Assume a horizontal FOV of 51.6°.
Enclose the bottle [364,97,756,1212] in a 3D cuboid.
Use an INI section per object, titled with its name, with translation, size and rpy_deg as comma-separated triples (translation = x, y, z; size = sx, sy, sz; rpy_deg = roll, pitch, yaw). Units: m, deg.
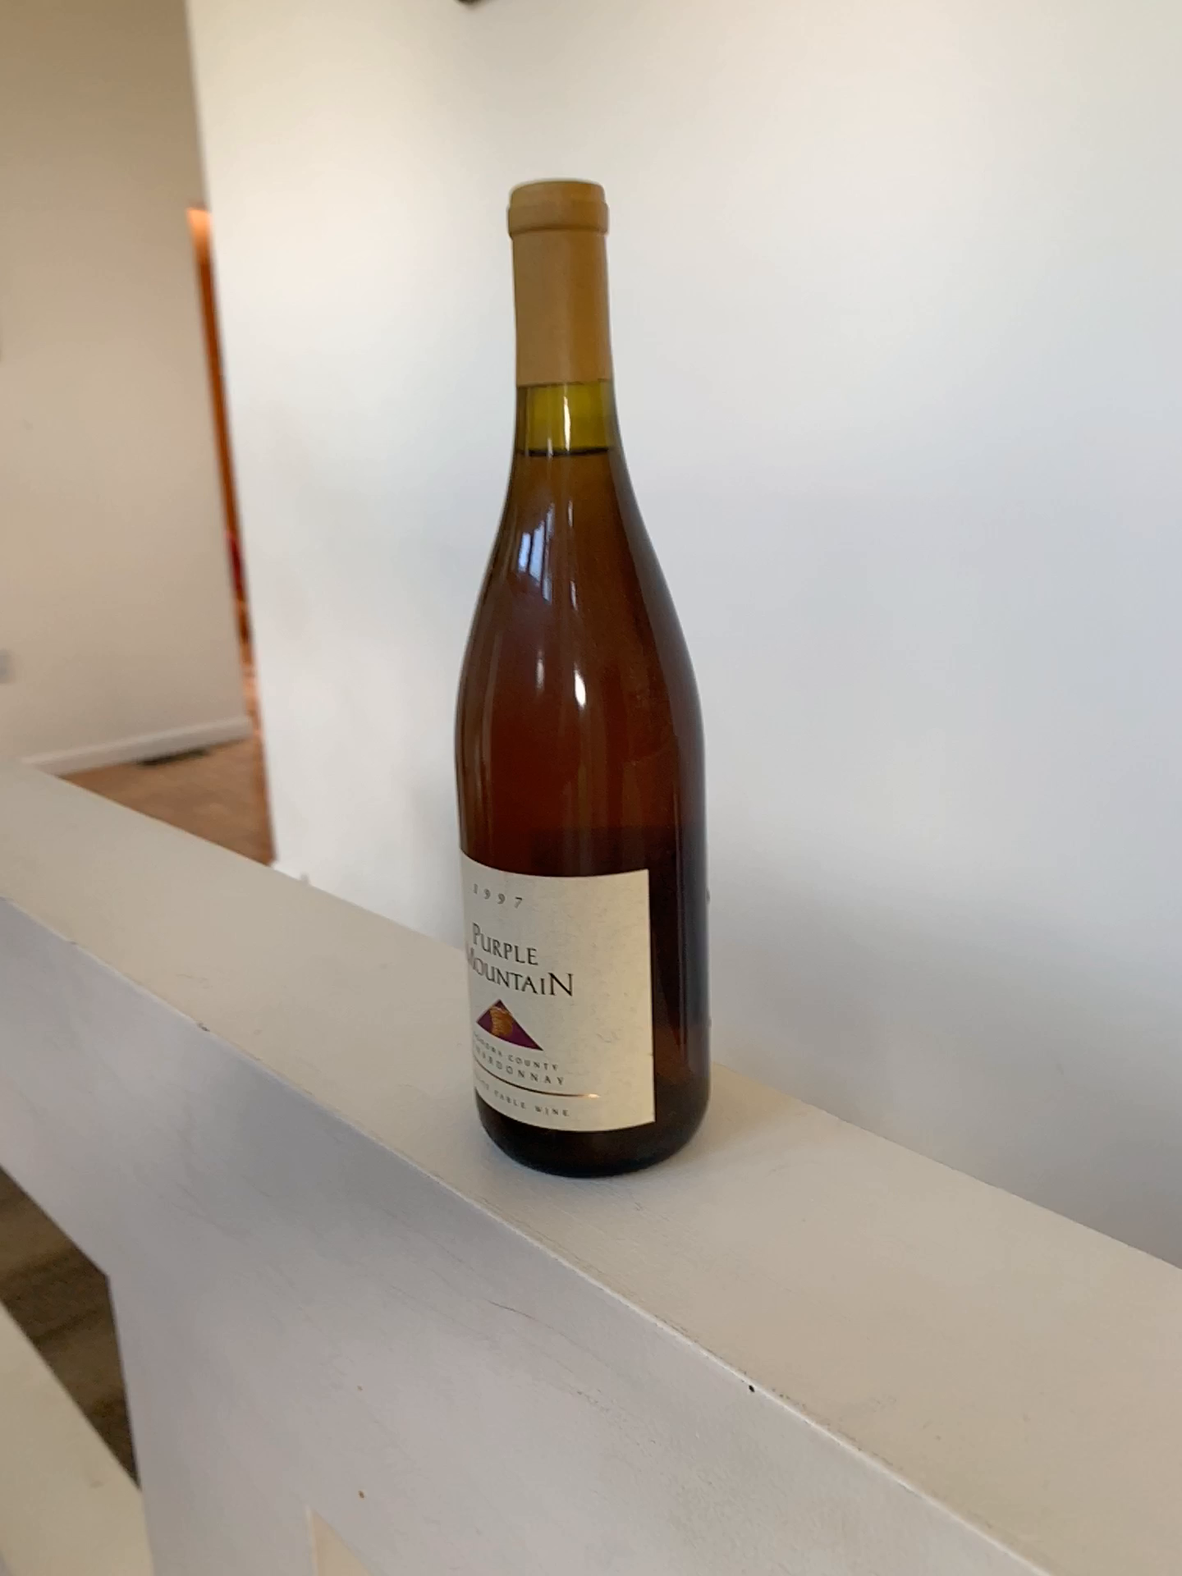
[bottle]
translation = -0.004, -0.034, 0.391
size = 0.080, 0.309, 0.080
rpy_deg = -2, 15, 0
